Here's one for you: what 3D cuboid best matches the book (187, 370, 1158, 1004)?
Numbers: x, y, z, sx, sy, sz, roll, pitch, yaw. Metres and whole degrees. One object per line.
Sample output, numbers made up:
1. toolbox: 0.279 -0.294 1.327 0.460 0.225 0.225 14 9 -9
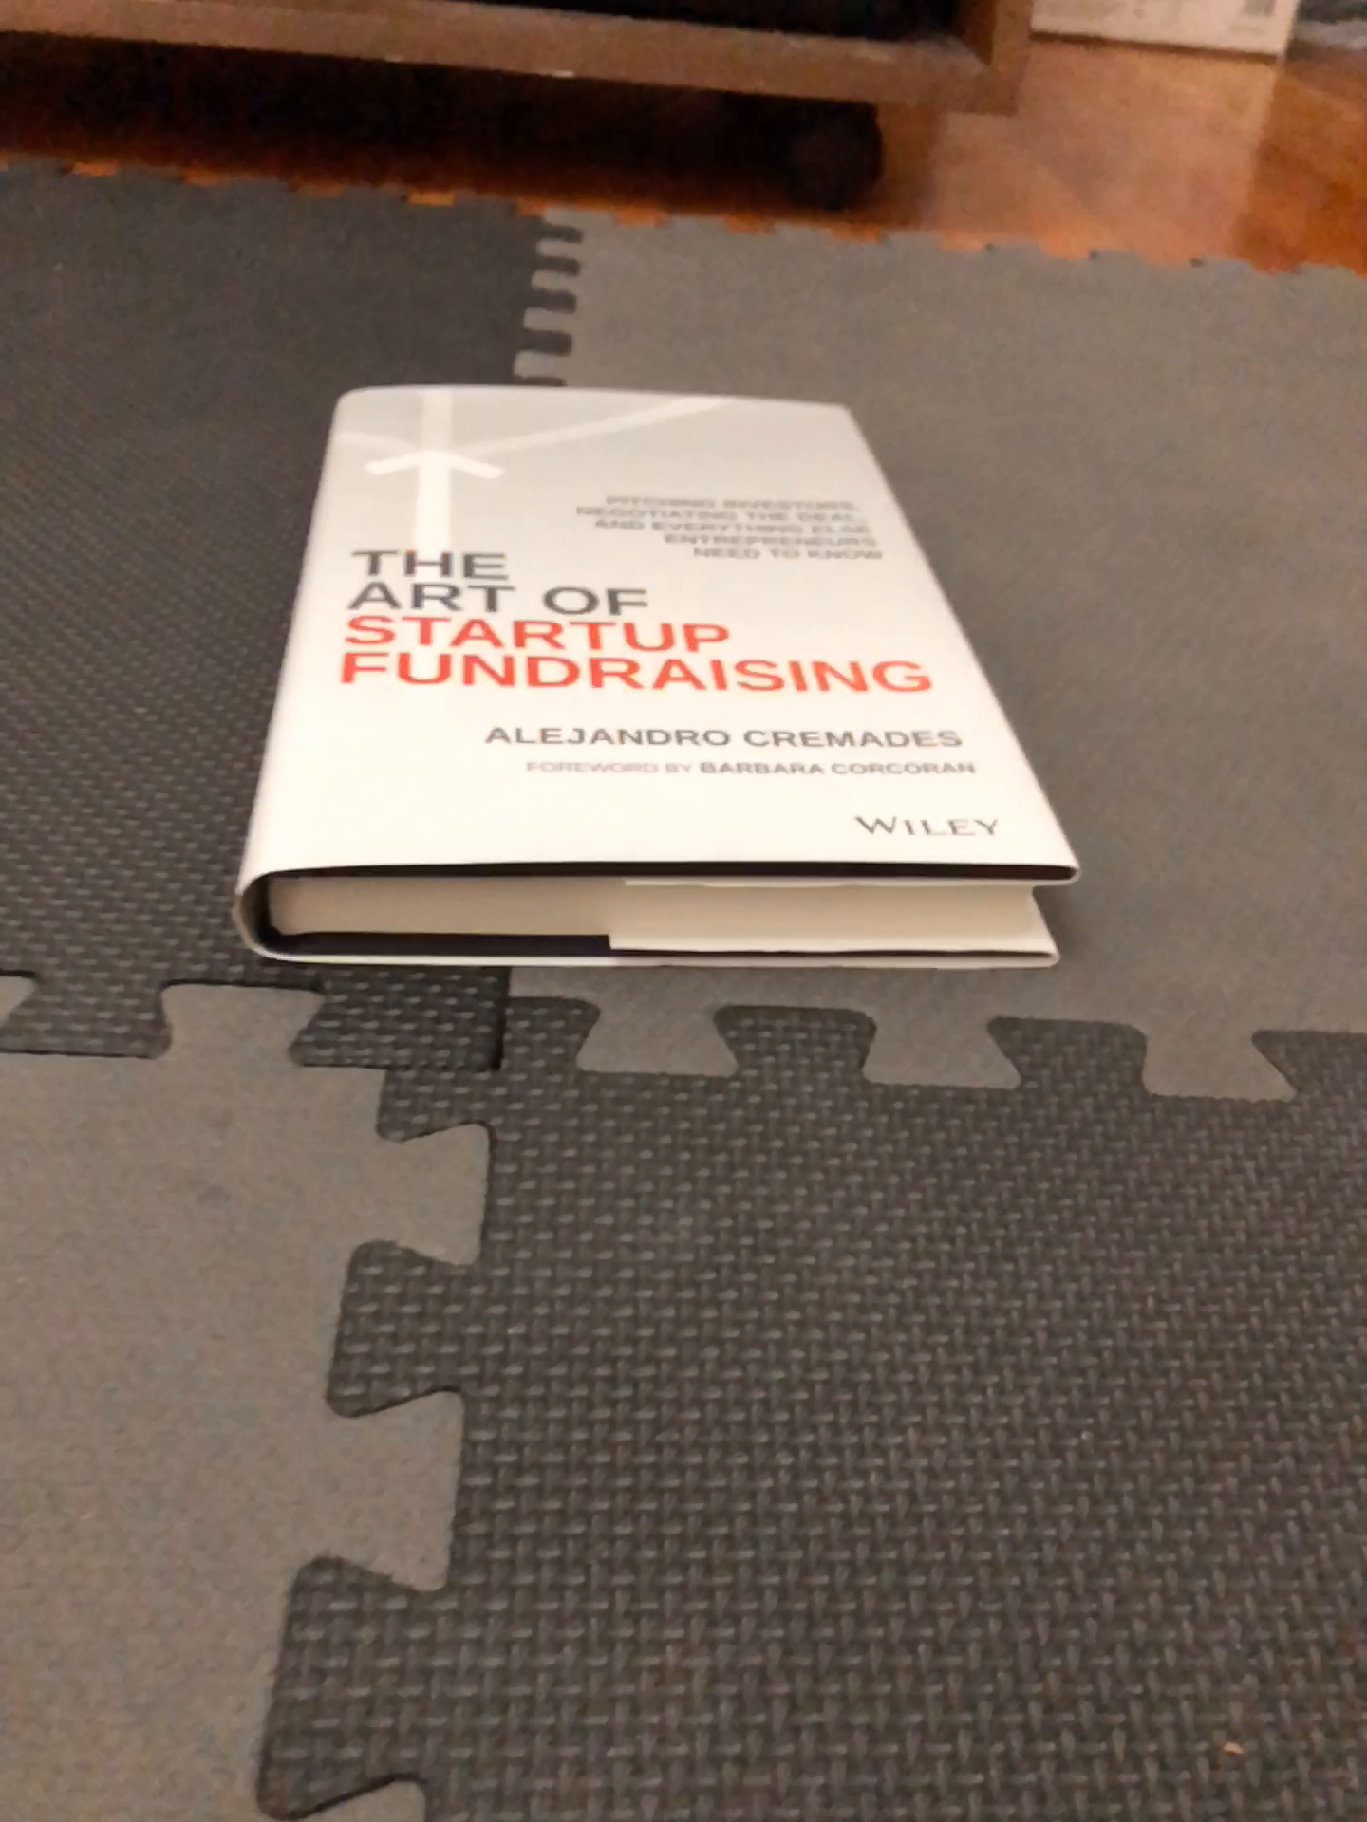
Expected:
1. book: -0.010 -0.072 0.373 0.170 0.030 0.252 1 38 -6
